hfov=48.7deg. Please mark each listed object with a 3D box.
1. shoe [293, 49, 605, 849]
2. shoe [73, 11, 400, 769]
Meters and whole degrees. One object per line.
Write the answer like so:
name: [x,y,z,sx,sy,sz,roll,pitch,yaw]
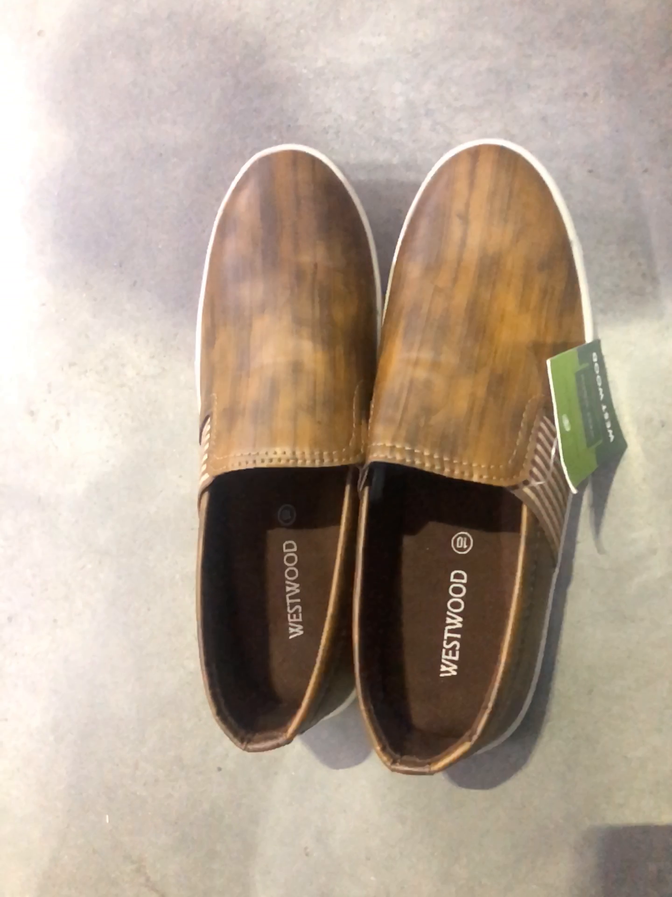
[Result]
shoe: [0.061,-0.004,0.350,0.110,0.100,0.310,2,85,18]
shoe: [-0.042,-0.022,0.343,0.110,0.100,0.290,-4,83,17]
